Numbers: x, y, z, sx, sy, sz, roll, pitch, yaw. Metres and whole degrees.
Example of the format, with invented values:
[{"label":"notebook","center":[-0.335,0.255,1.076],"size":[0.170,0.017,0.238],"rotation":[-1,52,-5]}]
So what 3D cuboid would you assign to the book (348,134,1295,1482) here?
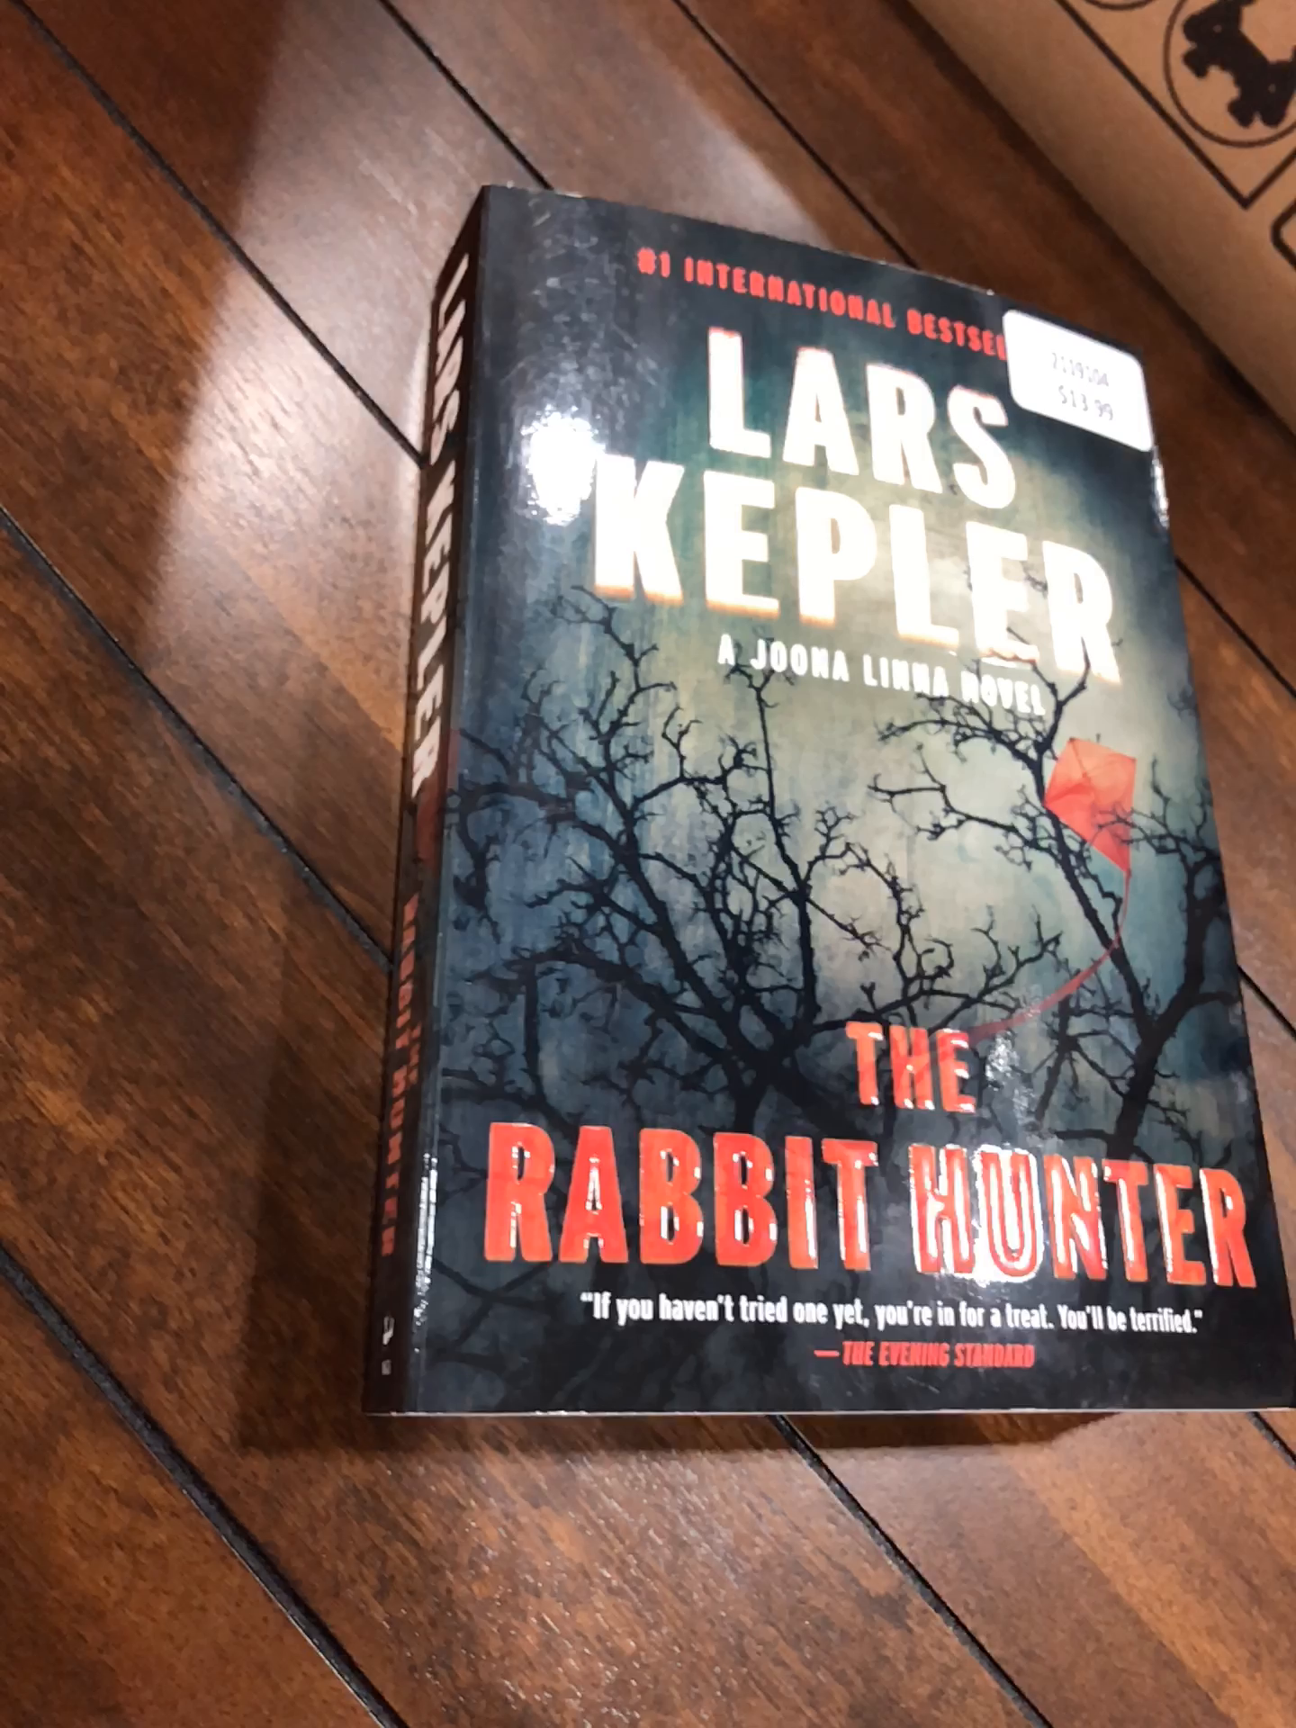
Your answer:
[{"label":"book","center":[0.037,-0.009,0.265],"size":[0.160,0.046,0.222],"rotation":[8,67,-19]}]
